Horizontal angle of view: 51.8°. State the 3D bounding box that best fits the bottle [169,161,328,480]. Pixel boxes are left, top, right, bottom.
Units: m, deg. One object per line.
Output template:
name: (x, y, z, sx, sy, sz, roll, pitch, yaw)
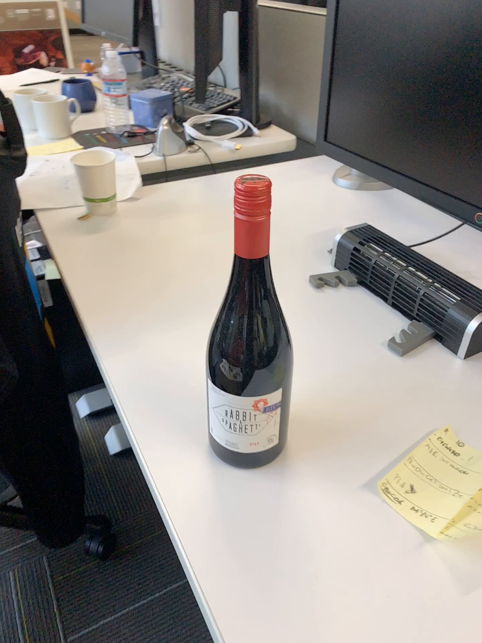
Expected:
bottle: (0.009, 0.007, 0.465, 0.097, 0.270, 0.111, 11, 37, 13)
